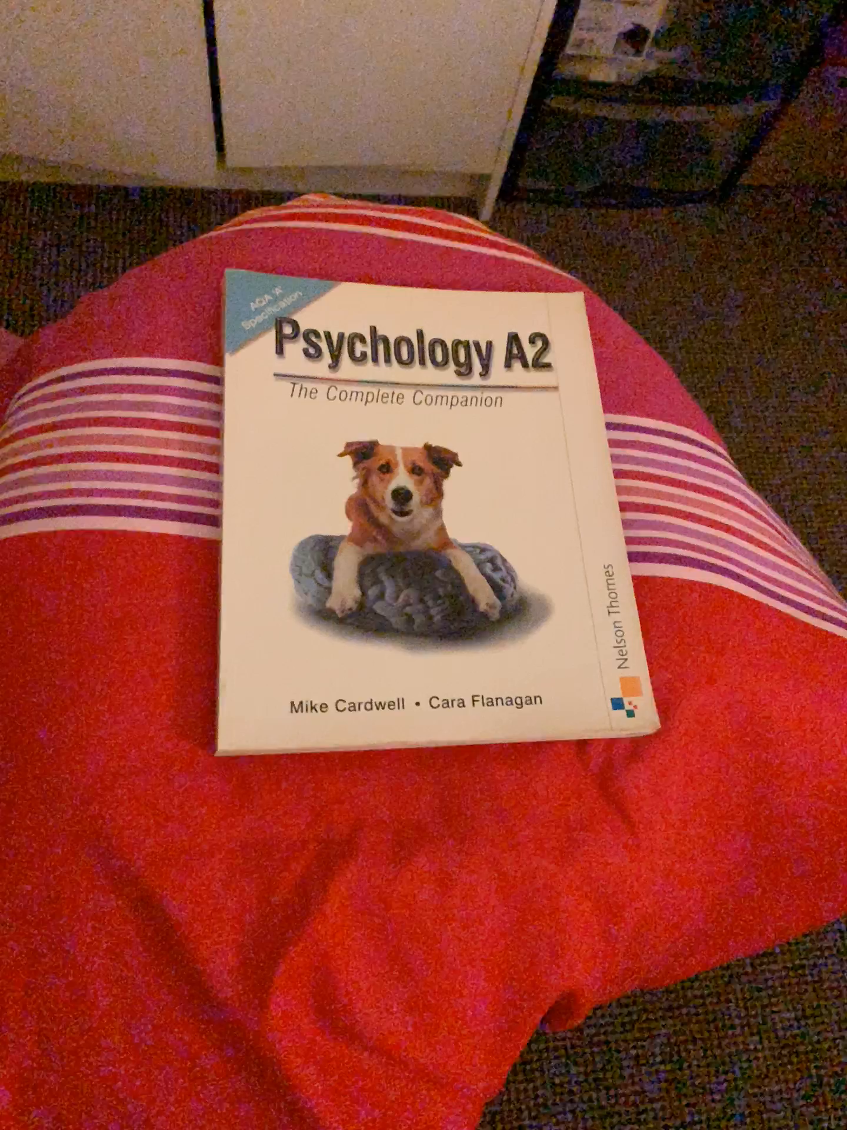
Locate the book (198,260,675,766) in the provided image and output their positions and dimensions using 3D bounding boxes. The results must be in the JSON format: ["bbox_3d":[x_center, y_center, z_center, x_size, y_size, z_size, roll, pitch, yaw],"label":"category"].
[{"bbox_3d":[-0.002,-0.041,0.501,0.240,0.040,0.291,-1,68,-9],"label":"book"}]
